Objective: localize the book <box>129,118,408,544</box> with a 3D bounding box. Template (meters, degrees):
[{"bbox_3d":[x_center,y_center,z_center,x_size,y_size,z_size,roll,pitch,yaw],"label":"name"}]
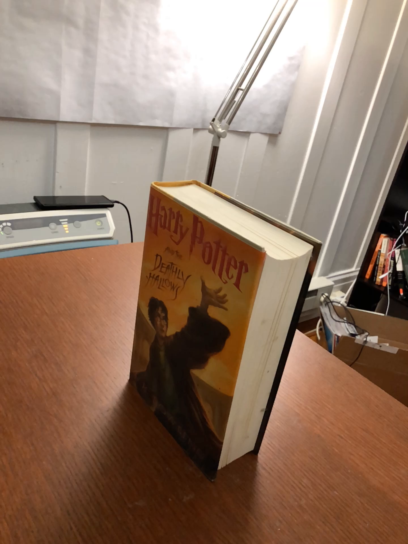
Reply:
[{"bbox_3d":[0.030,0.042,0.400,0.070,0.298,0.211,-11,33,-38],"label":"book"}]
